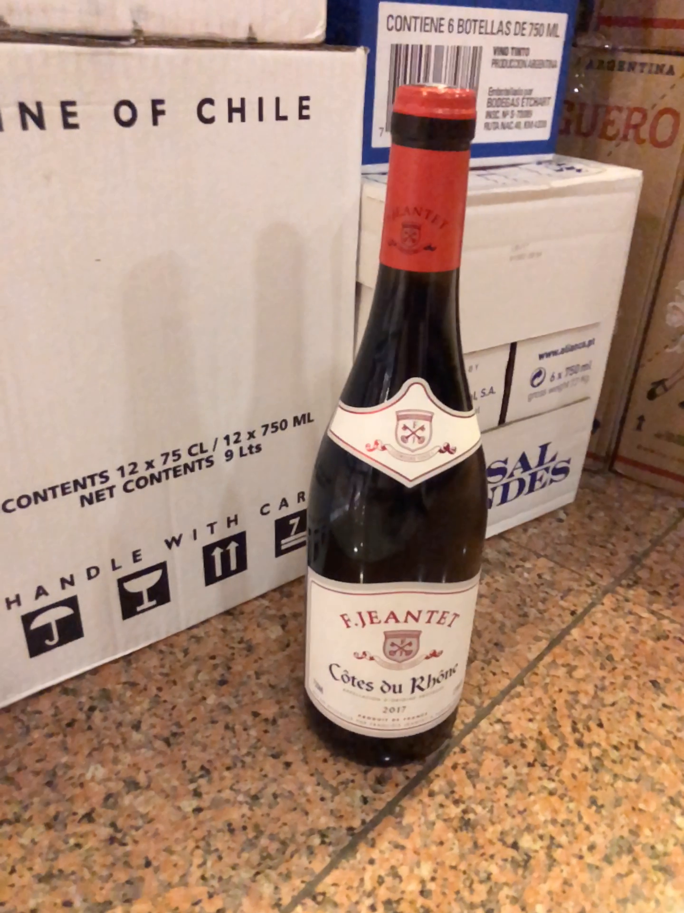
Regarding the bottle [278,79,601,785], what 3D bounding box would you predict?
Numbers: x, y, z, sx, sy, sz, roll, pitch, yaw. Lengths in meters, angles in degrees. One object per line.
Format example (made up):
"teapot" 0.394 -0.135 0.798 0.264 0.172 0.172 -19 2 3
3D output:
"bottle" 0.021 0.004 0.322 0.090 0.288 0.081 -2 29 -8
